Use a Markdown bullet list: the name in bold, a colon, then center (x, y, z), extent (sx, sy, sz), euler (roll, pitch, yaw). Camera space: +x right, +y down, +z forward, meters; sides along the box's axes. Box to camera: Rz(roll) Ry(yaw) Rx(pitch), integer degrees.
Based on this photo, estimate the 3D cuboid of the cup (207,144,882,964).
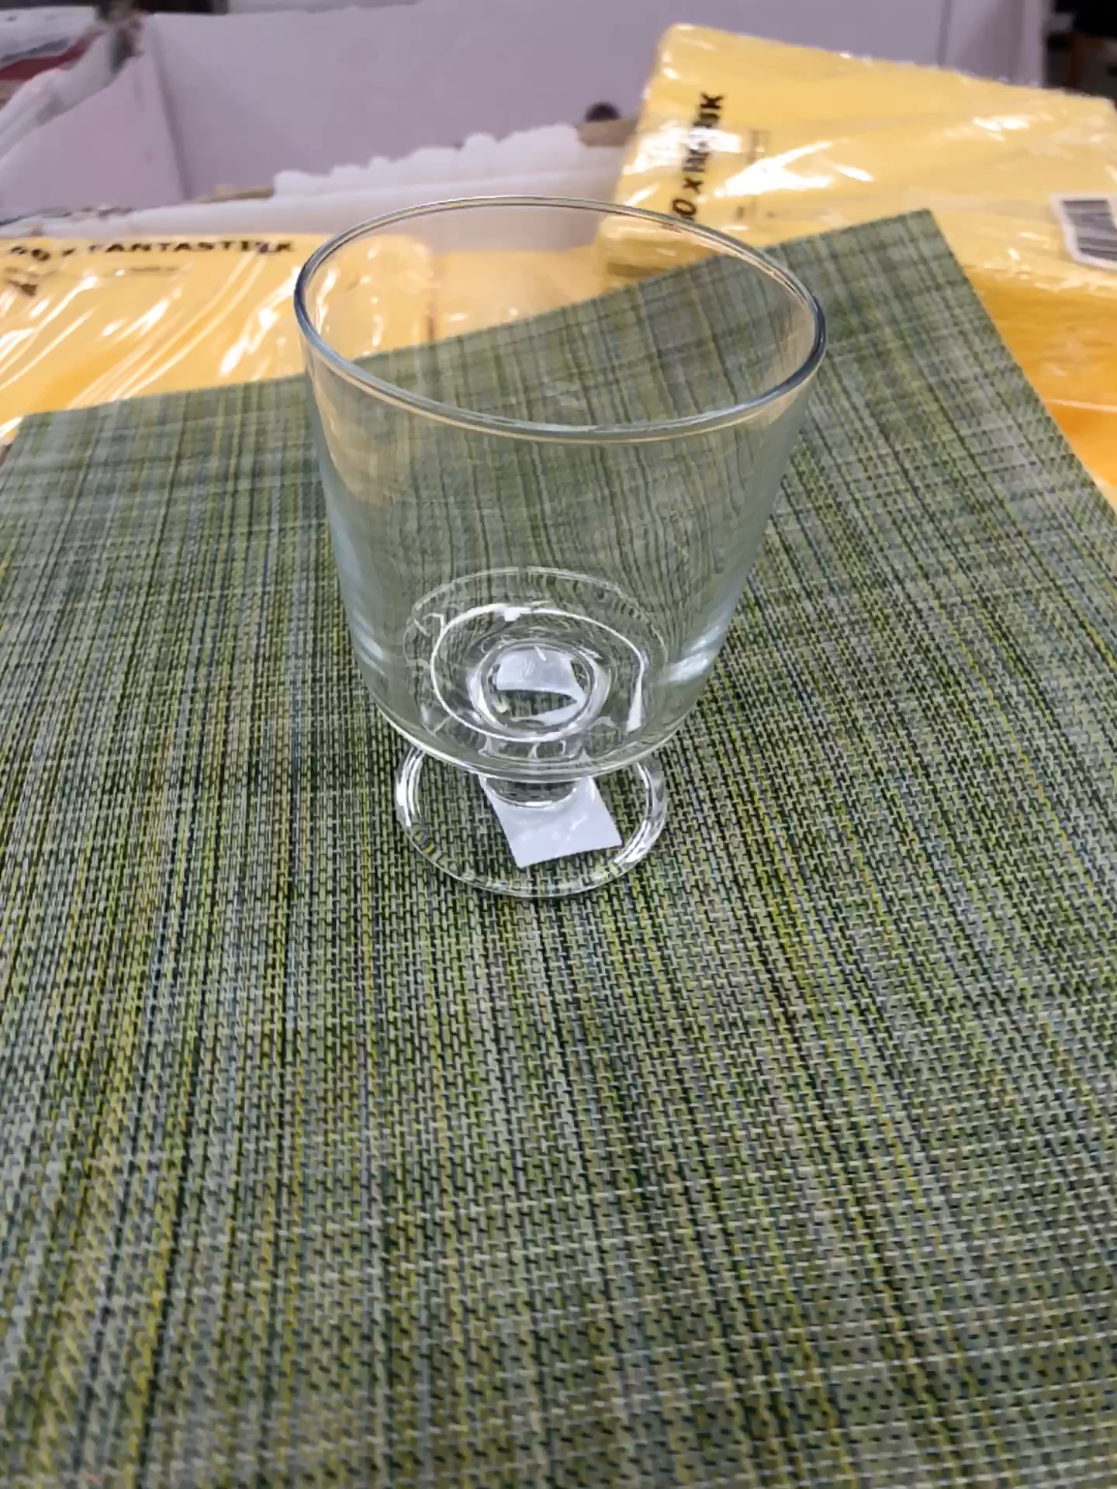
- **cup**: center (-0.002, -0.034, 0.236), extent (0.090, 0.110, 0.090), euler (4, 44, -4)
